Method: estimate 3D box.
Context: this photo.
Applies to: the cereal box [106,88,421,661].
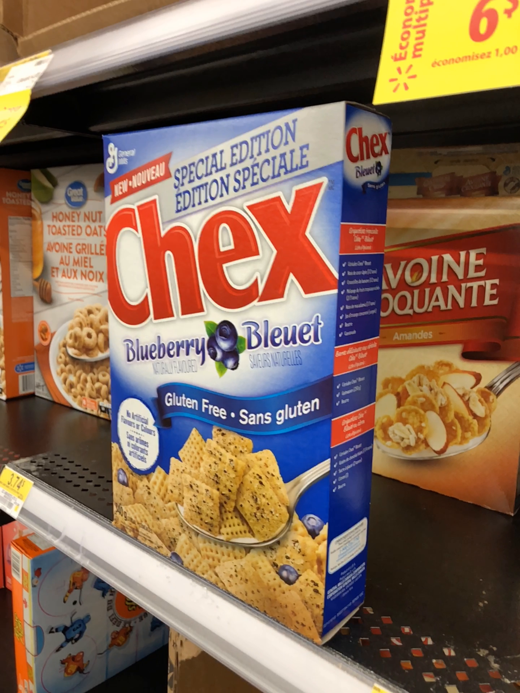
[{"bbox_3d":[-0.013,0.008,0.371,0.200,0.289,0.060,11,14,41],"label":"cereal box"}]
